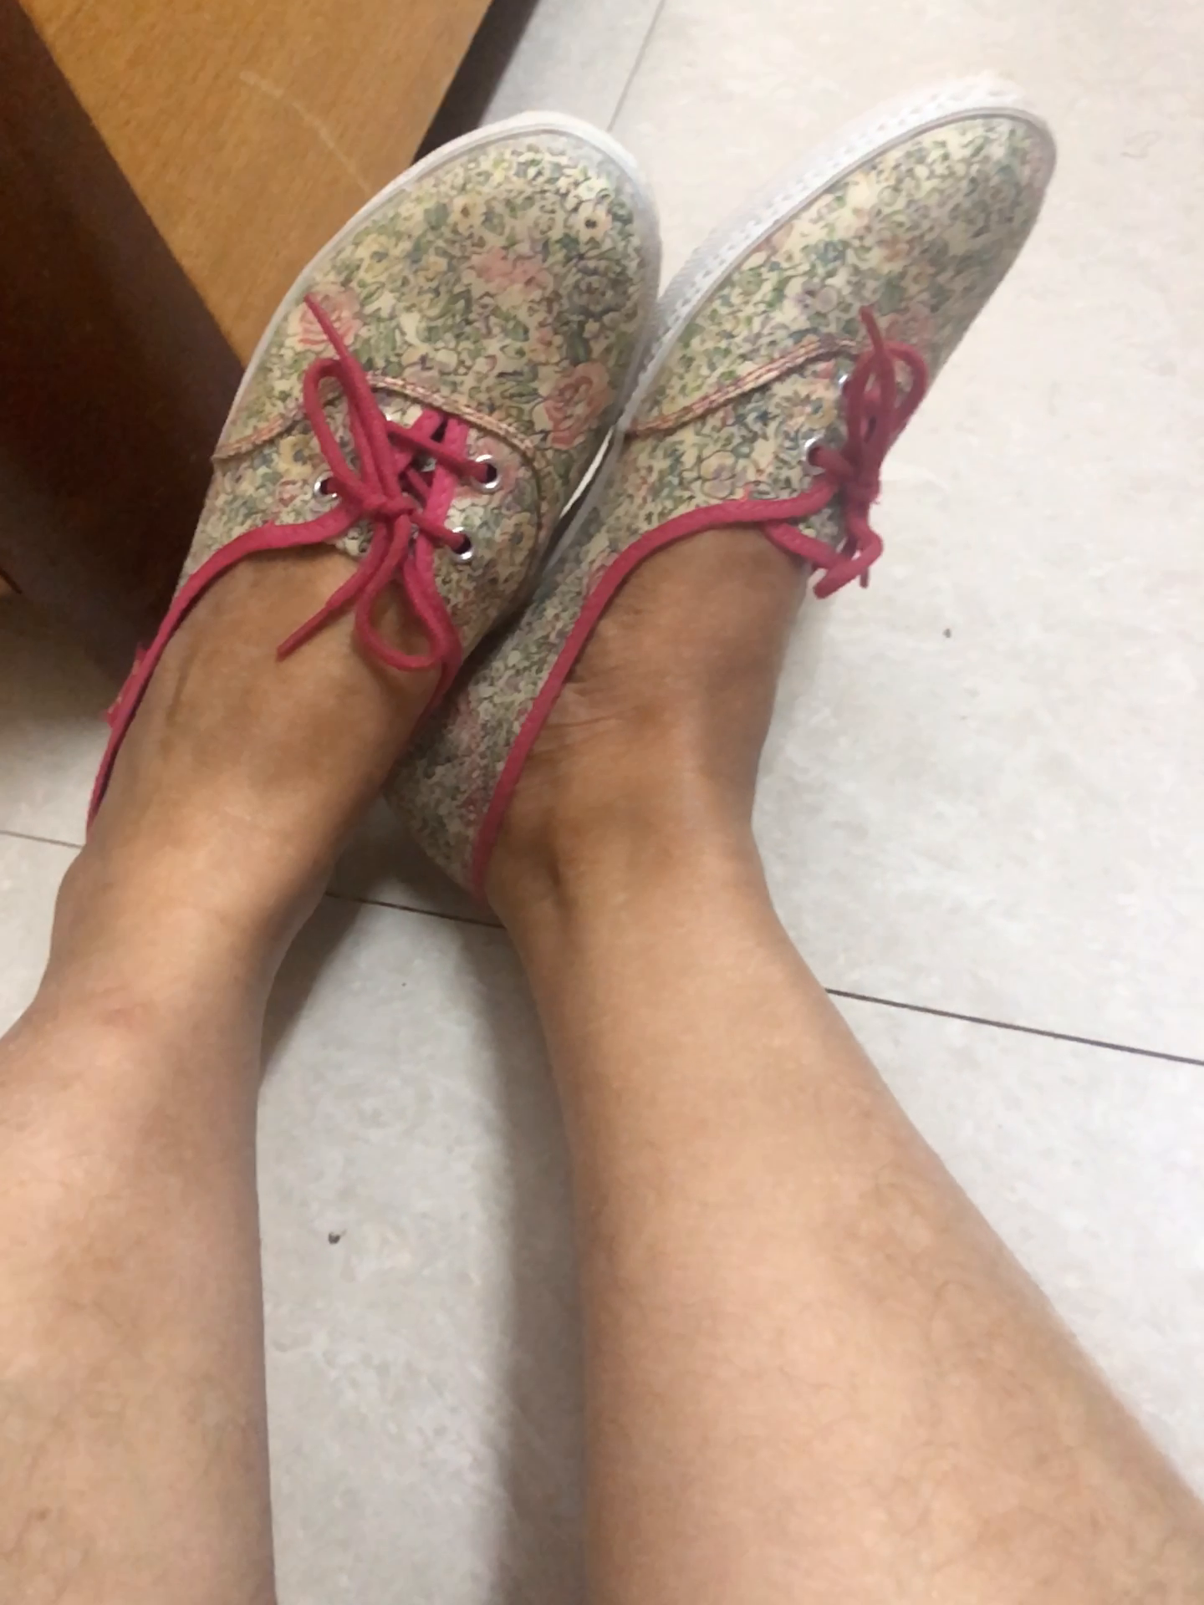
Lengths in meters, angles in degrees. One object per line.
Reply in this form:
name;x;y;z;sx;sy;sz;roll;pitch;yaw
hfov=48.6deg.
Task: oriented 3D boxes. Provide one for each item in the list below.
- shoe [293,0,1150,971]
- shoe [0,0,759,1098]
shoe;0.020;-0.074;0.375;0.259;0.090;0.070;-55;46;22
shoe;-0.071;-0.053;0.347;0.259;0.090;0.070;-58;17;23
